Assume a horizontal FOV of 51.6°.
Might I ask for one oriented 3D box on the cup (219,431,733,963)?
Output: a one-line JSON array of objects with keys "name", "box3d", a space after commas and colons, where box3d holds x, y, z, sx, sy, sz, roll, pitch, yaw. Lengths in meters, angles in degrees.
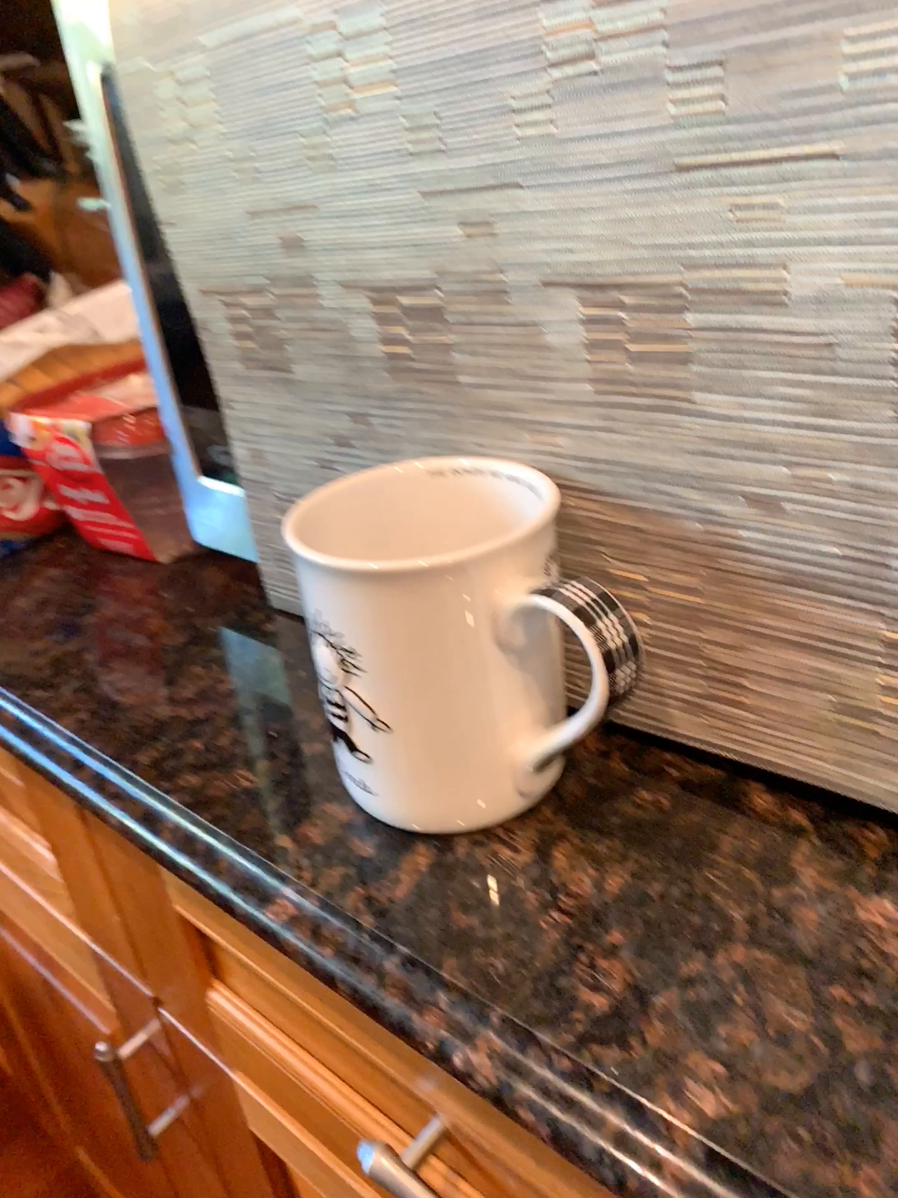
[{"name": "cup", "box3d": [0.010, 0.020, 0.317, 0.100, 0.109, 0.130, -28, 34, -35]}]
